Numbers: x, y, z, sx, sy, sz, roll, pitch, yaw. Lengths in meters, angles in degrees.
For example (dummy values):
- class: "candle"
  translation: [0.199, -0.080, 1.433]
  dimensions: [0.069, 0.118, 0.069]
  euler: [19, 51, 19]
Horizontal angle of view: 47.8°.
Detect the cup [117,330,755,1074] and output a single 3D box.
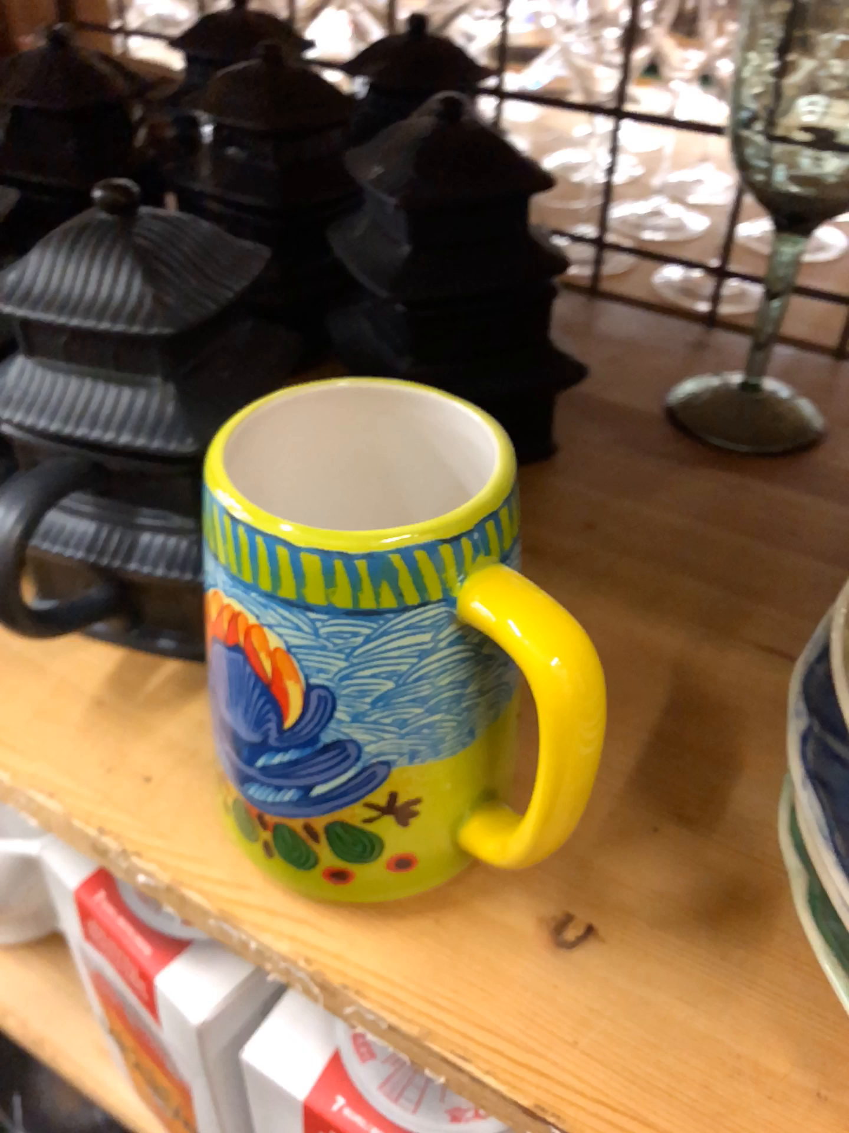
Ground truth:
- class: "cup"
  translation: [-0.003, 0.028, 0.247]
  dimensions: [0.086, 0.125, 0.114]
  euler: [-26, 45, -30]
